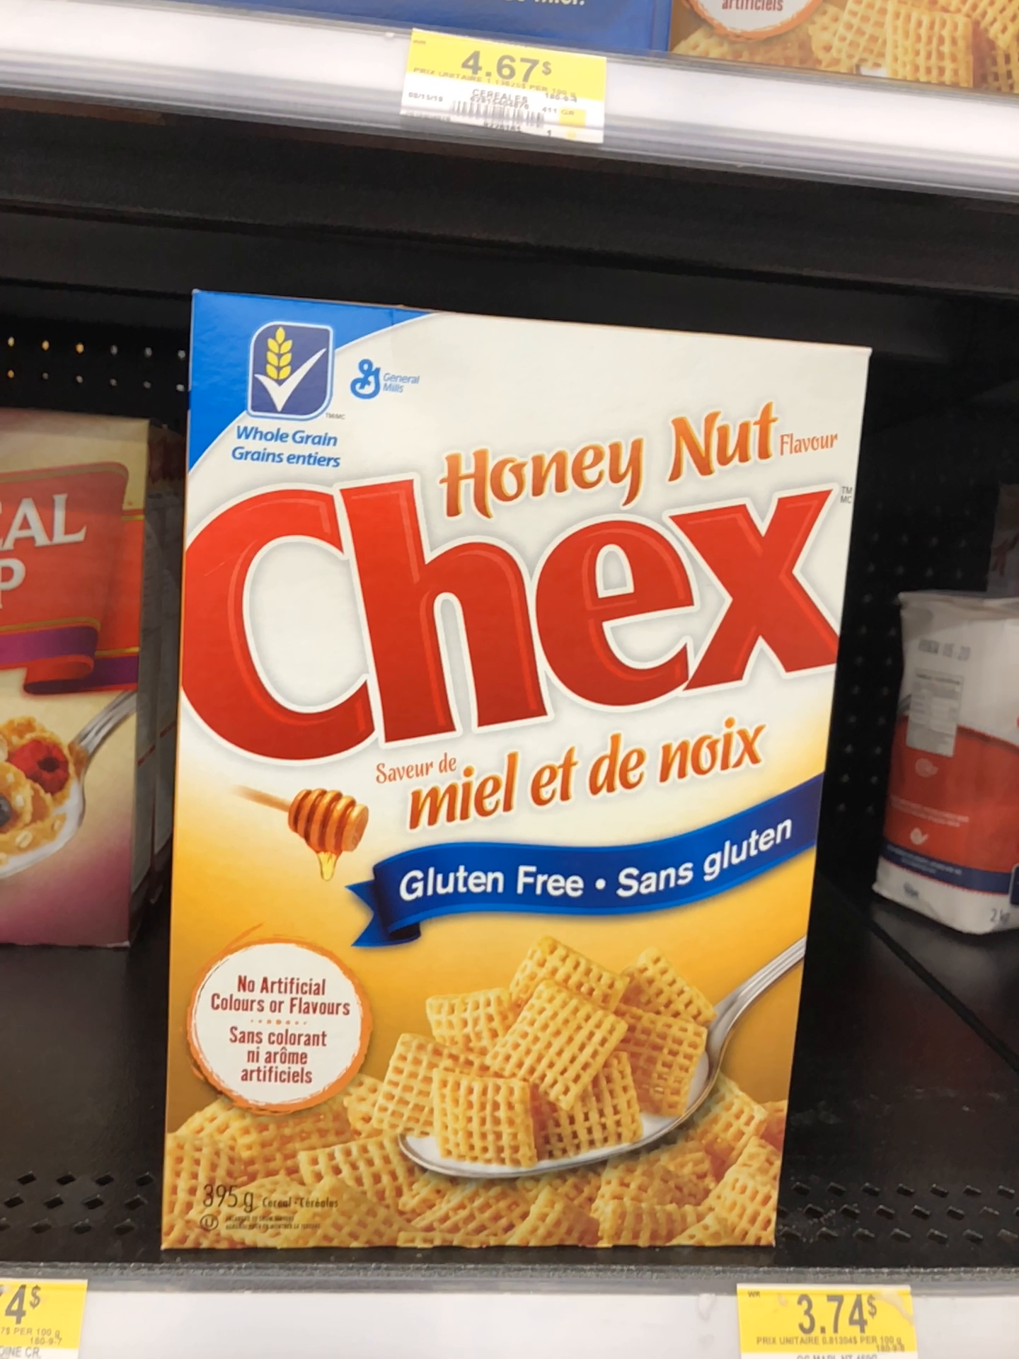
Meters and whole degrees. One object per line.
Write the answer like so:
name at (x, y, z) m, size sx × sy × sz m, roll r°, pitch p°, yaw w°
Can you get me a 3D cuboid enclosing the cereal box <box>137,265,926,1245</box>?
cereal box at (0.002, 0.031, 0.353) m, size 0.210 × 0.279 × 0.050 m, roll 3°, pitch 7°, yaw -6°
